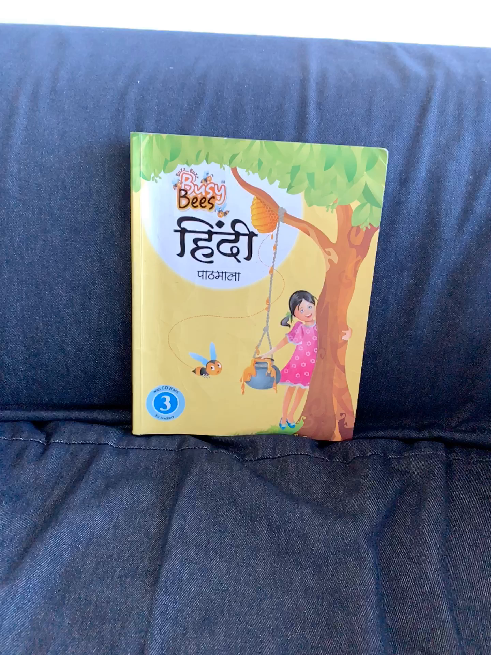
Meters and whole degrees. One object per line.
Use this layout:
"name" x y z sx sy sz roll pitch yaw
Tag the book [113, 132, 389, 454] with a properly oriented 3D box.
"book" -0.003 -0.023 0.471 0.230 0.284 0.029 3 15 0
